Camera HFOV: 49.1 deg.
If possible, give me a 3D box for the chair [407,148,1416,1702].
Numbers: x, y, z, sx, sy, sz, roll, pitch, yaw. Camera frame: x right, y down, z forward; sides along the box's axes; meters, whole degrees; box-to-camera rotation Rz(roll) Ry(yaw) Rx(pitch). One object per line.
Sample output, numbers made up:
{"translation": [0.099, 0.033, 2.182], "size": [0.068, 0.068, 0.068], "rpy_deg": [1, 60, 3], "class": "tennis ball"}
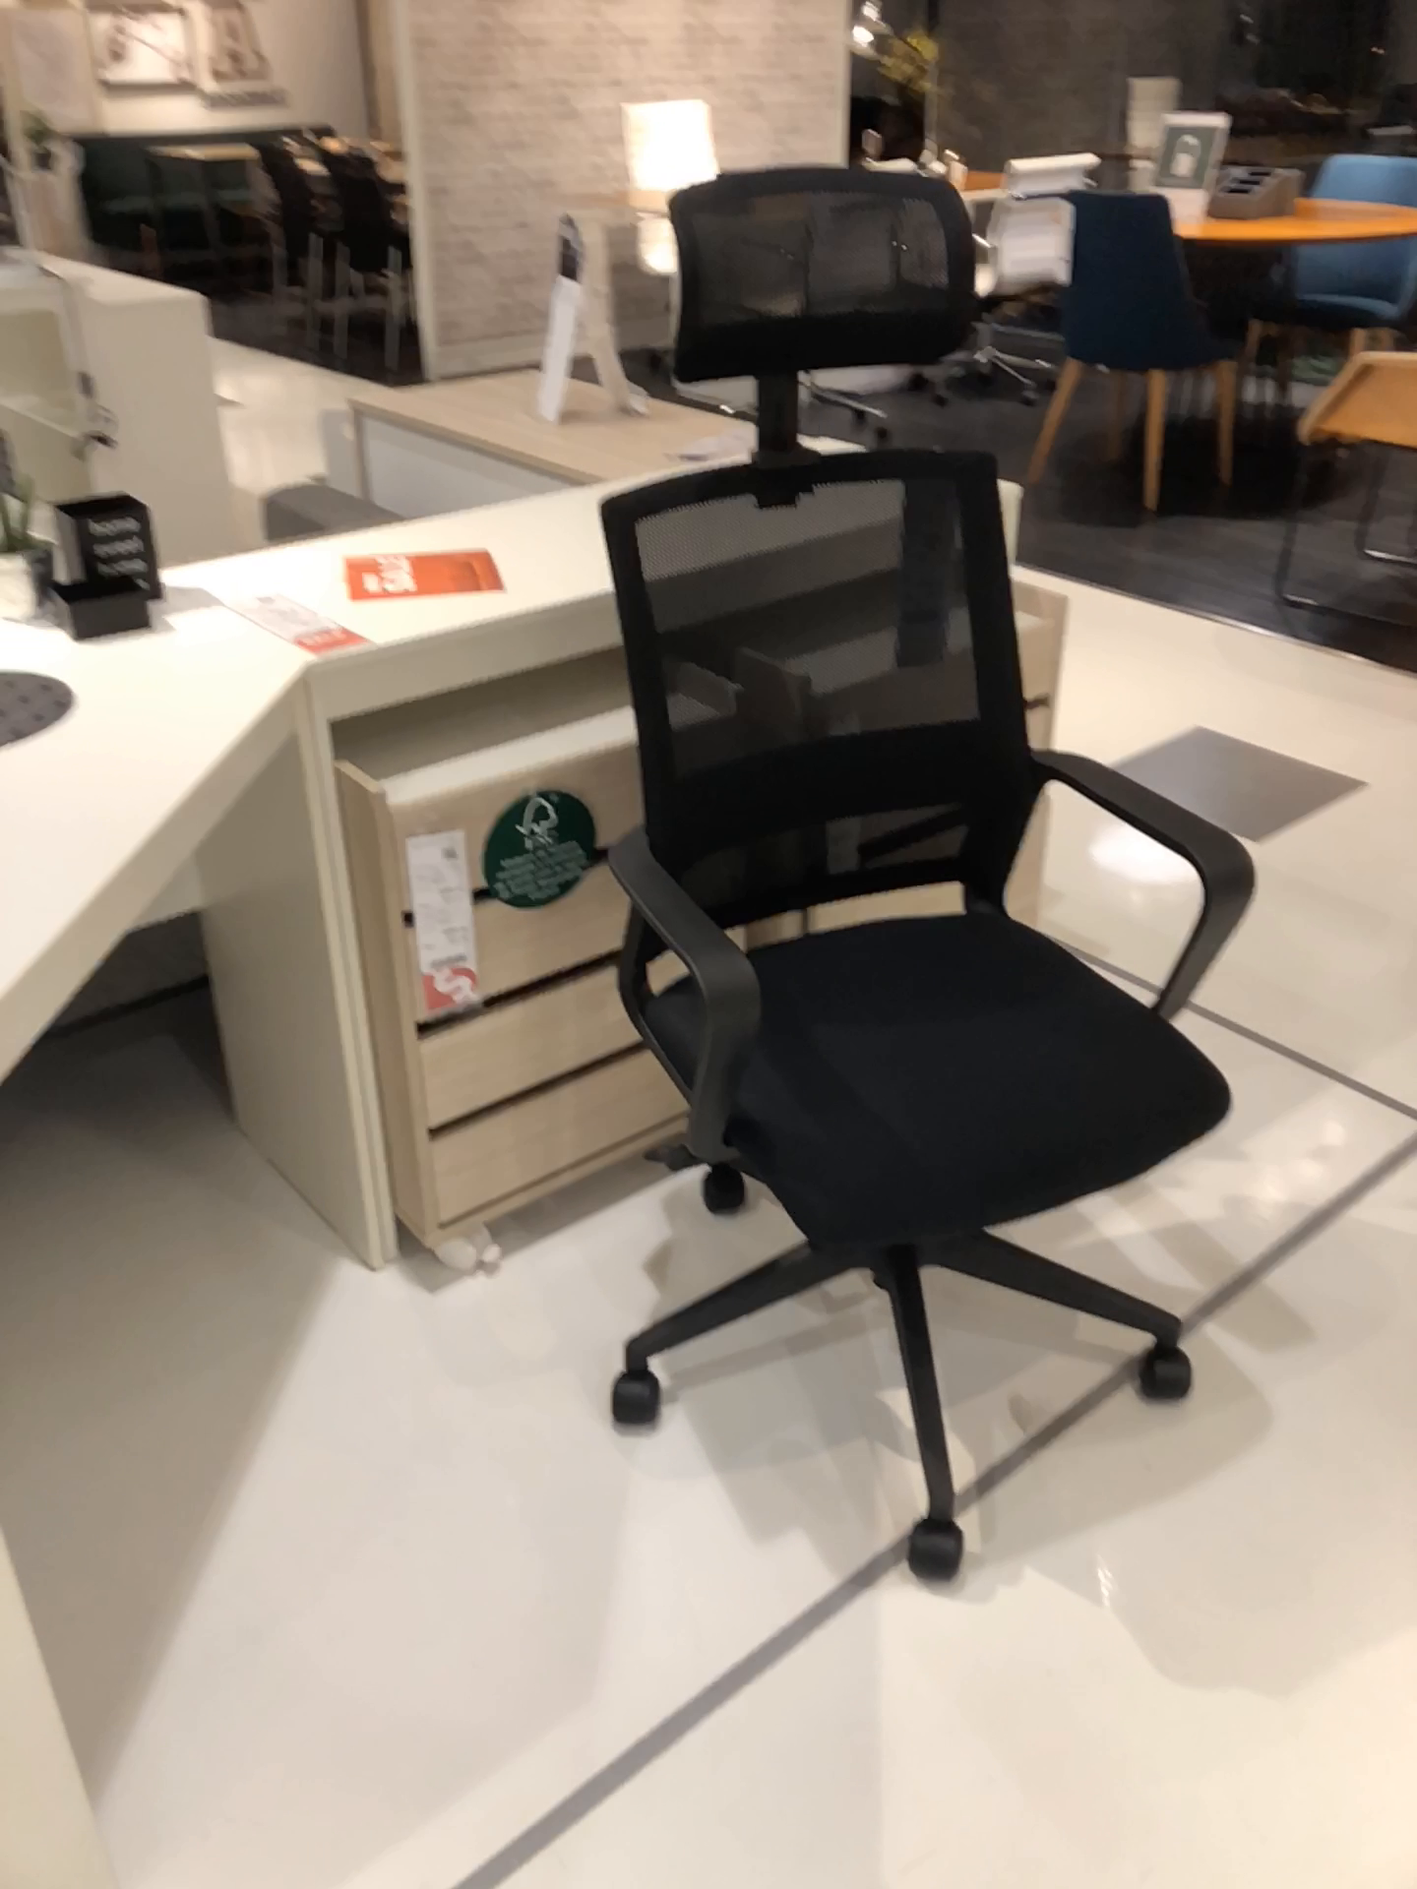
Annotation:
{"translation": [0.198, -0.071, 1.426], "size": [0.661, 1.131, 0.664], "rpy_deg": [-14, 32, -22], "class": "chair"}
